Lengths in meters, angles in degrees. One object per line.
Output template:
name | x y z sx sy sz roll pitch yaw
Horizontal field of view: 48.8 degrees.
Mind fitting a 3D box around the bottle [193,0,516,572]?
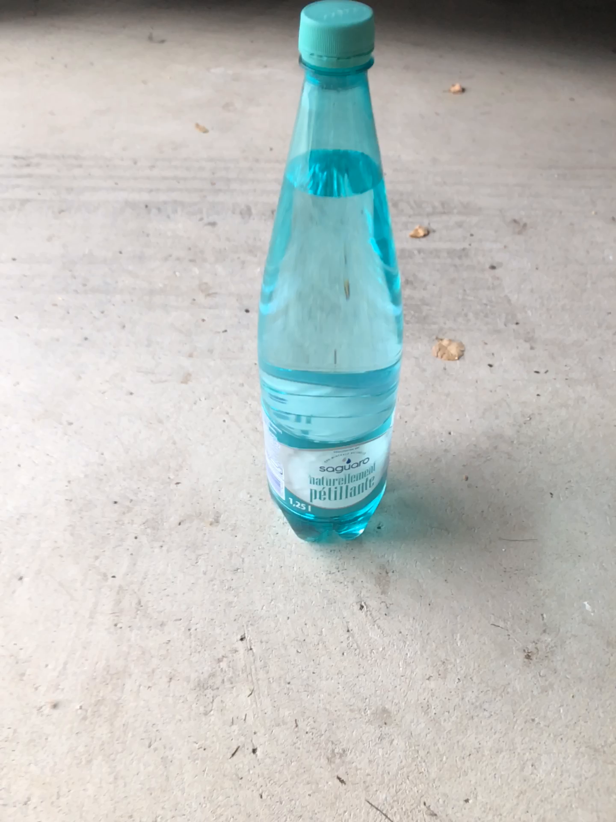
bottle | 0.010 -0.041 0.368 0.100 0.318 0.090 -8 48 -8
